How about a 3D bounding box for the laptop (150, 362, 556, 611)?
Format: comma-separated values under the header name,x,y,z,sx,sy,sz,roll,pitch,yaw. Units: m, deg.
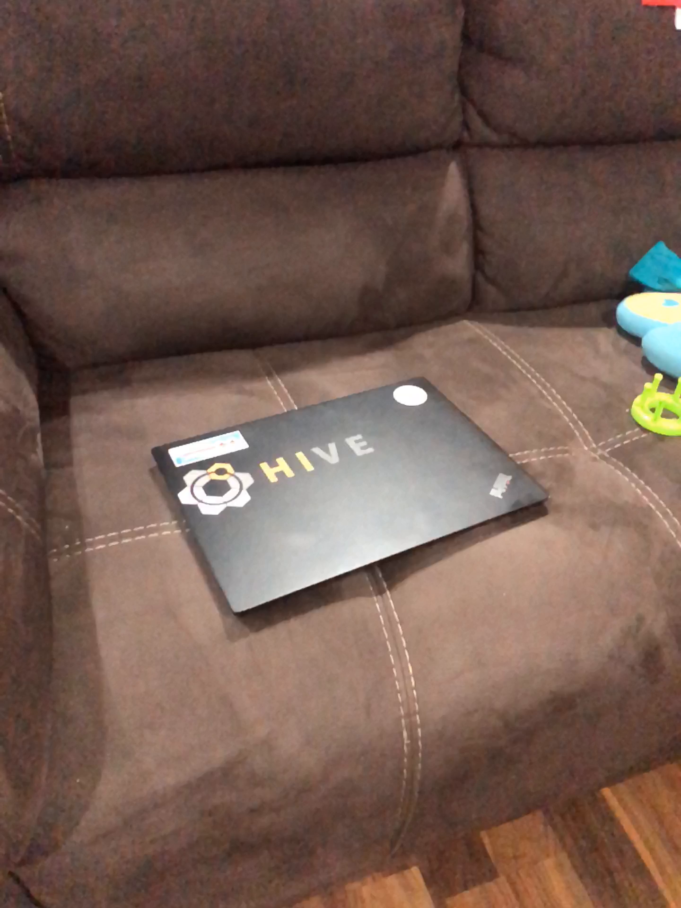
name,x,y,z,sx,sy,sz,roll,pitch,yaw
laptop,0.005,0.010,0.745,0.329,0.019,0.236,-17,42,-21
